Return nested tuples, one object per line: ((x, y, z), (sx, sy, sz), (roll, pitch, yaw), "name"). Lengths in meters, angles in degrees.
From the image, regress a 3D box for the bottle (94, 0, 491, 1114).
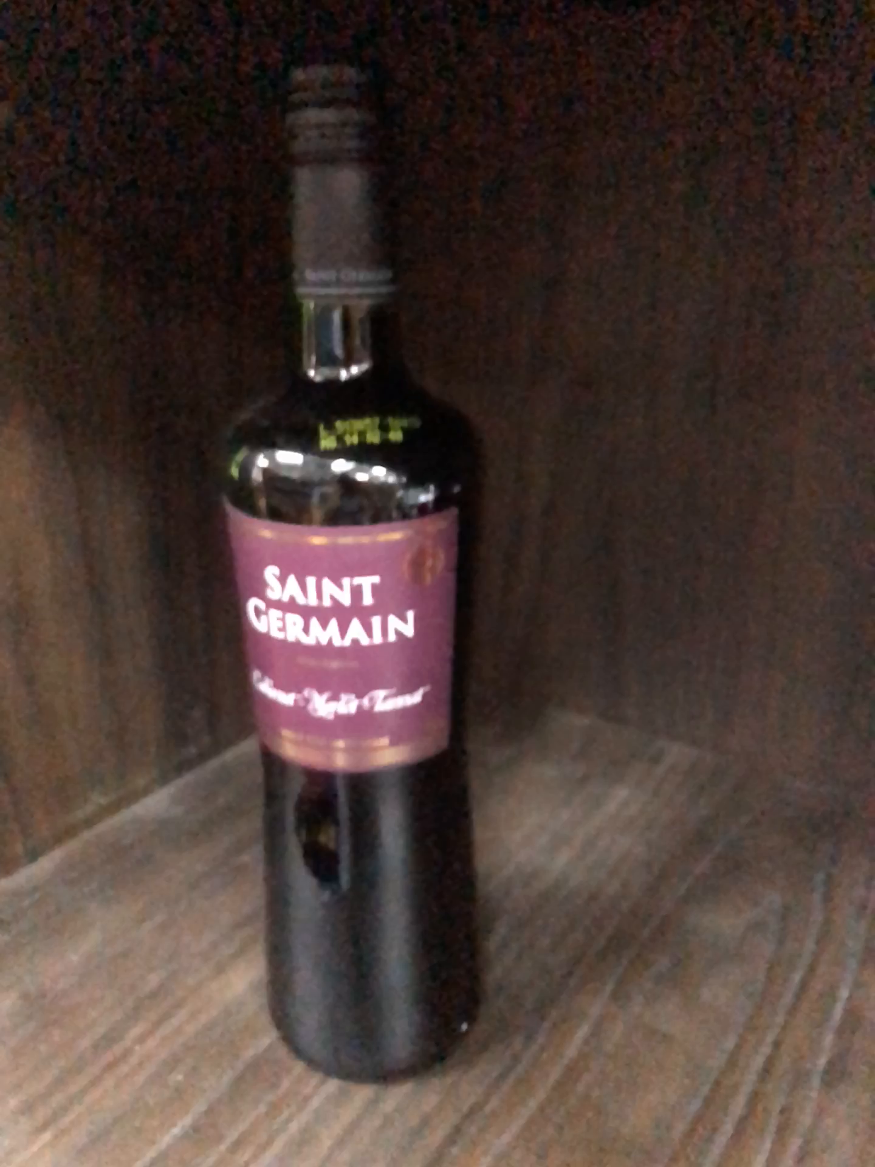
((-0.026, 0.008, 0.291), (0.080, 0.308, 0.070), (1, 20, 5), "bottle")
